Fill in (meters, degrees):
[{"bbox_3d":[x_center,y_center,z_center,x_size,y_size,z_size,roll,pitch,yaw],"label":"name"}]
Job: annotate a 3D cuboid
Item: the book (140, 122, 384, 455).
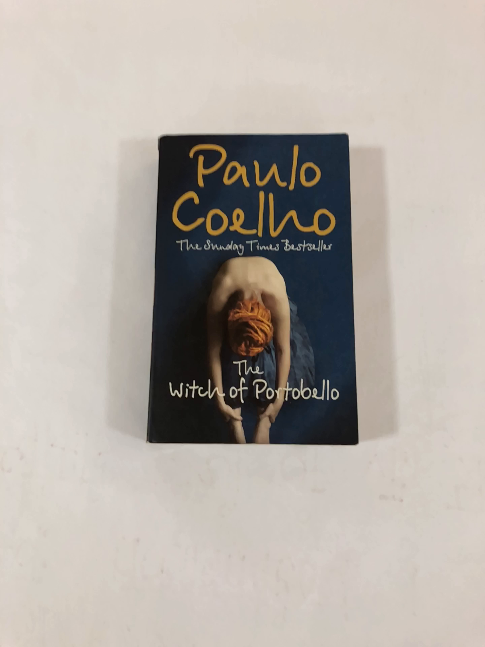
[{"bbox_3d":[0.010,-0.021,0.300,0.120,0.030,0.180,1,78,1],"label":"book"}]
